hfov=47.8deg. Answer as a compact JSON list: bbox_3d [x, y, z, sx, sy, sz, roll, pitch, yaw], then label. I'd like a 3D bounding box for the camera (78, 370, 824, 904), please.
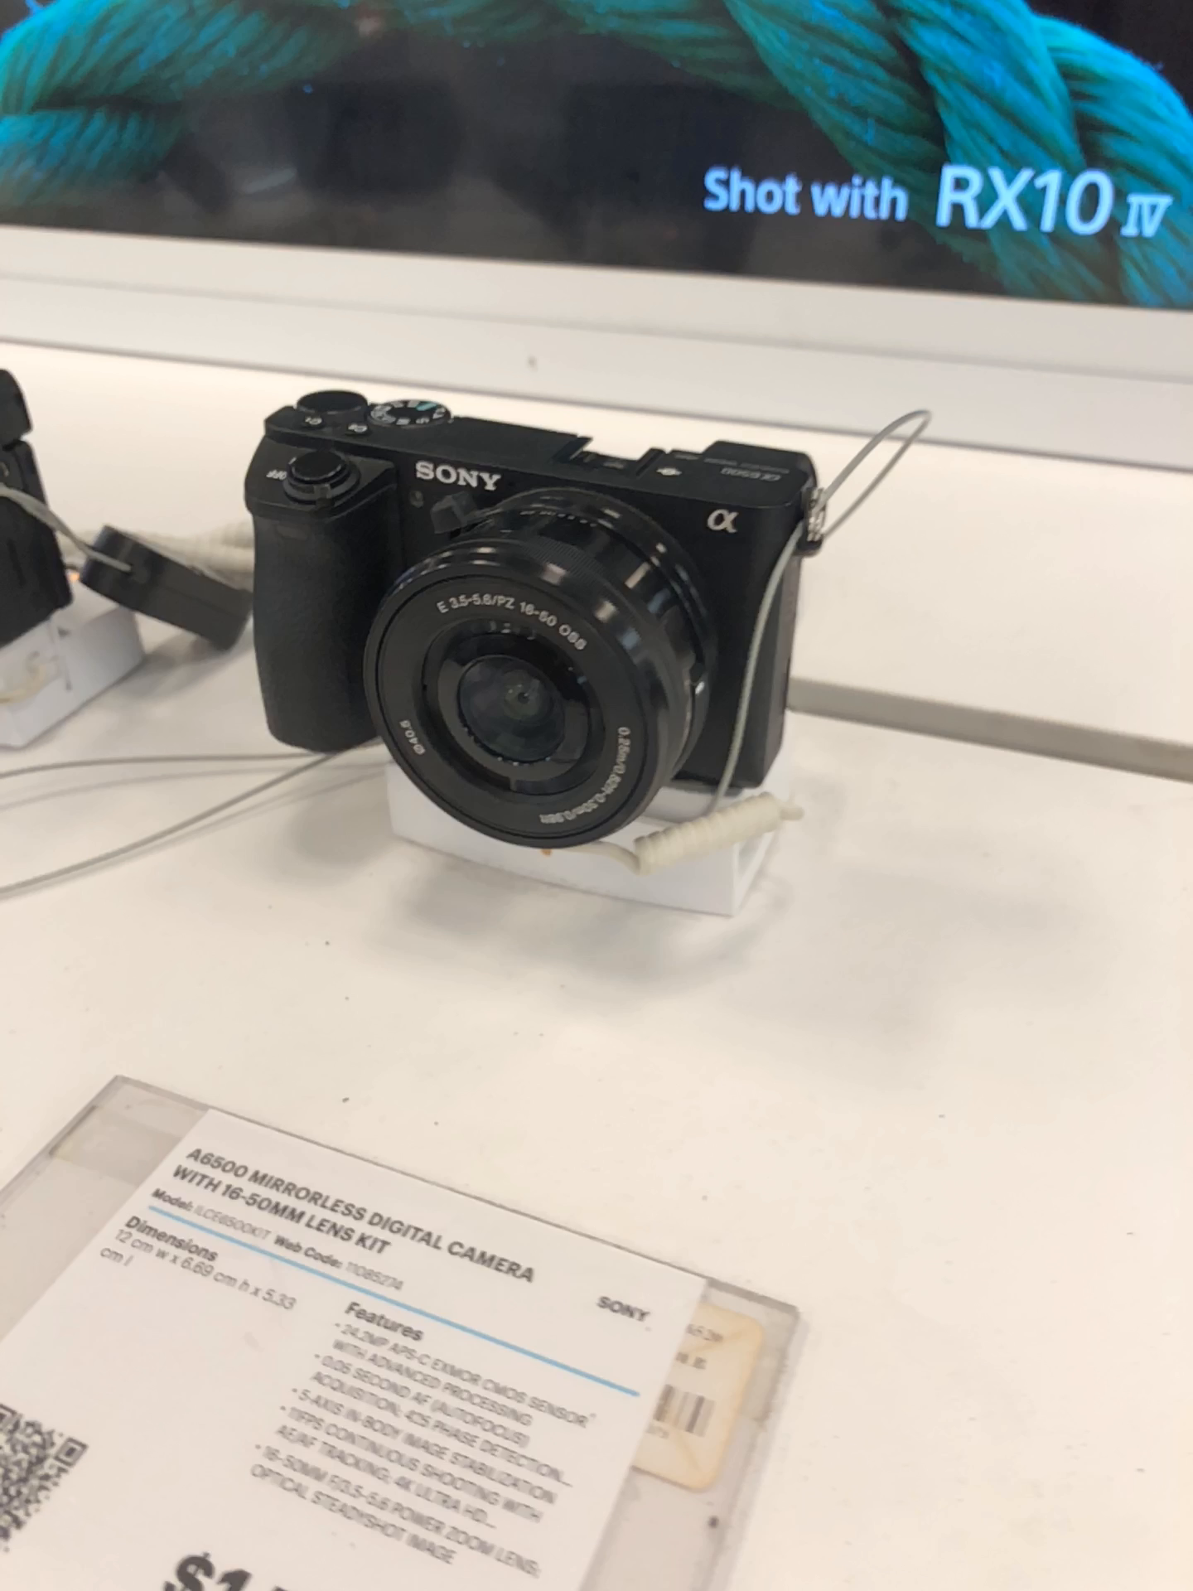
[{"bbox_3d":[-0.027,-0.040,0.286,0.130,0.070,0.070,13,36,21],"label":"camera"}]
